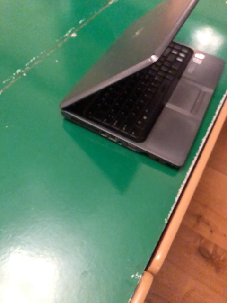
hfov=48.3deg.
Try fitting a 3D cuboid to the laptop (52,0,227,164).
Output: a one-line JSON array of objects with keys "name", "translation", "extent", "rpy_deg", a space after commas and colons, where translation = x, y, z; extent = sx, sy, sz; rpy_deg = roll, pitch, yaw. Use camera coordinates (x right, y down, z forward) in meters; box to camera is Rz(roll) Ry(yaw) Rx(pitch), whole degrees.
[{"name": "laptop", "translation": [0.085, -0.187, 0.459], "extent": [0.227, 0.171, 0.317], "rpy_deg": [25, 57, 10]}]
